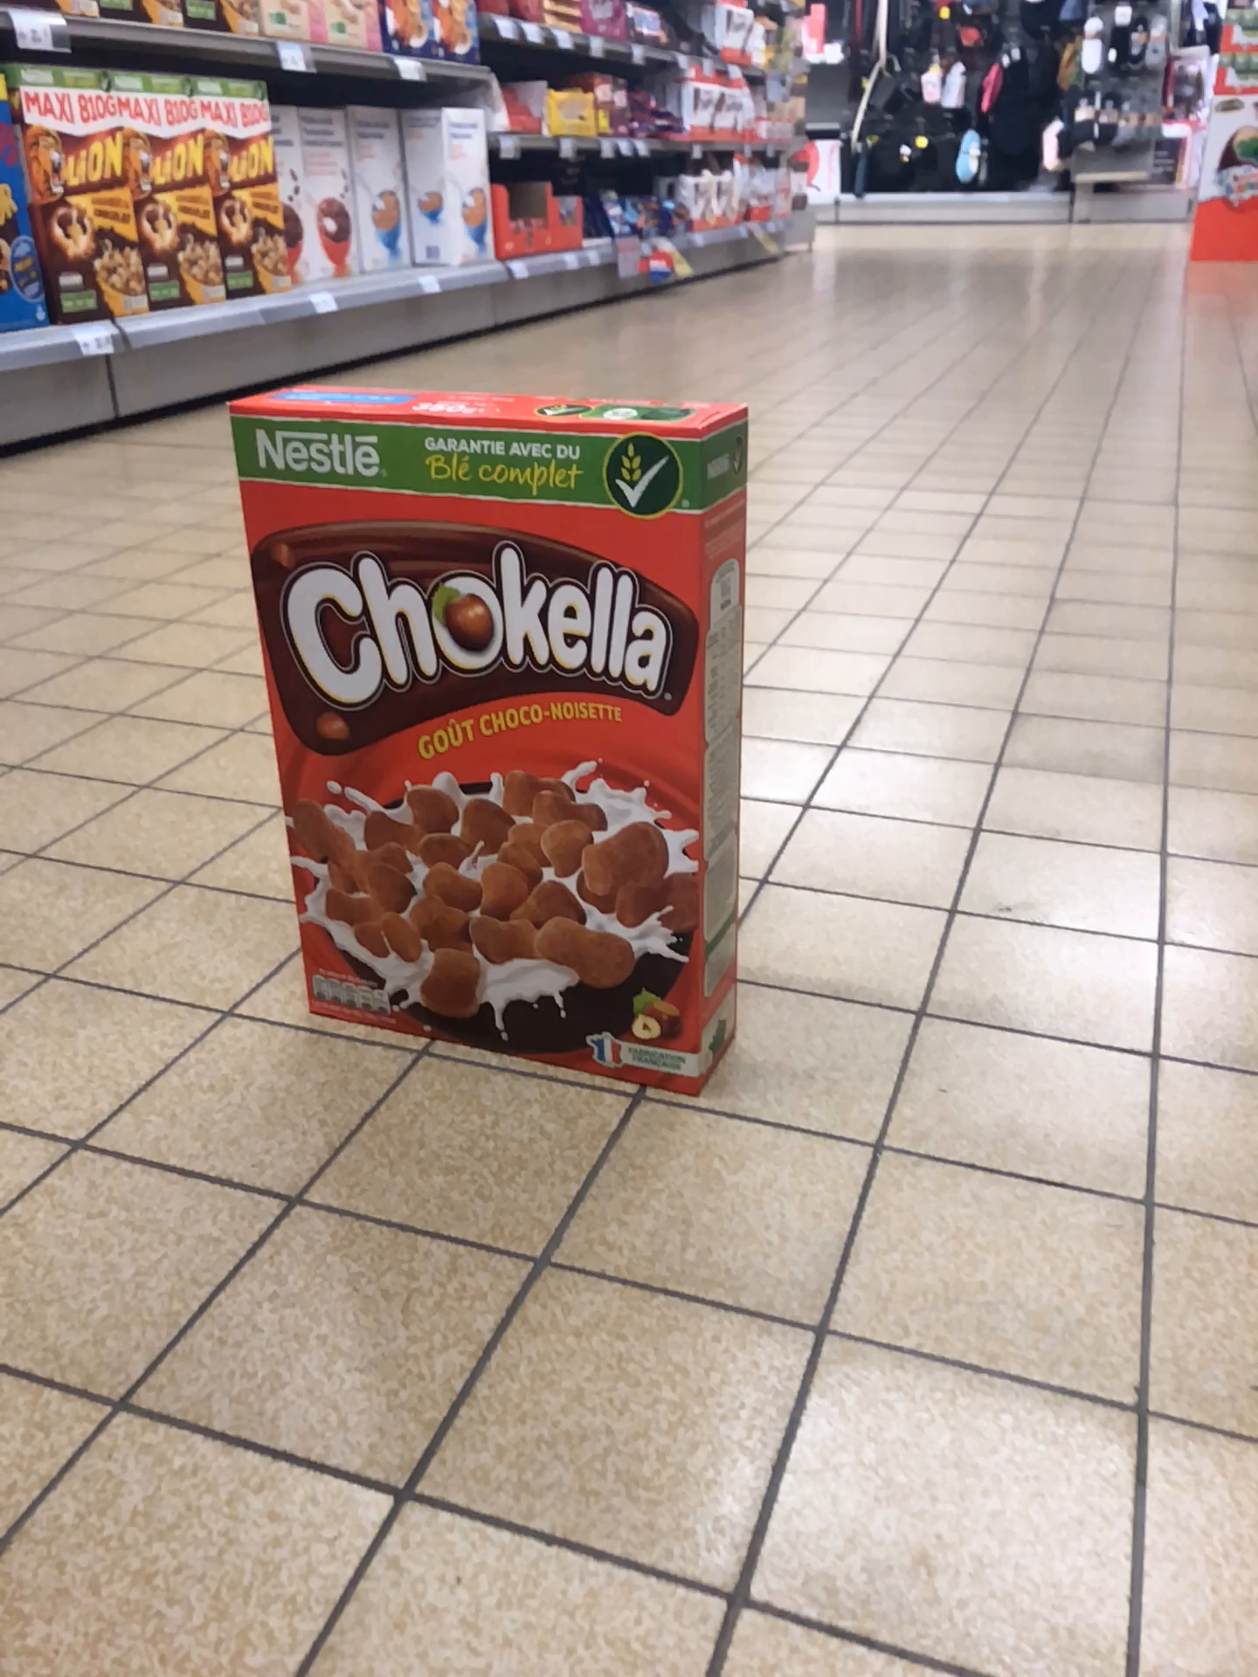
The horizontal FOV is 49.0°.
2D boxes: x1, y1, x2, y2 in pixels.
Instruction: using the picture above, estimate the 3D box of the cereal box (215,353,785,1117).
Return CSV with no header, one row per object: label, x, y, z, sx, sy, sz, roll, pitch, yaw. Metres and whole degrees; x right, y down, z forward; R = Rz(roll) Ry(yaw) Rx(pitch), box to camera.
cereal box,-0.047,-0.042,0.556,0.200,0.278,0.060,9,27,21
